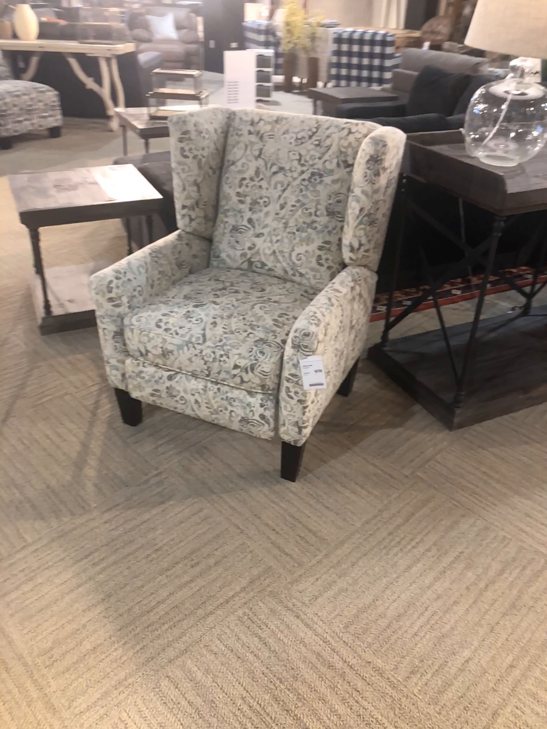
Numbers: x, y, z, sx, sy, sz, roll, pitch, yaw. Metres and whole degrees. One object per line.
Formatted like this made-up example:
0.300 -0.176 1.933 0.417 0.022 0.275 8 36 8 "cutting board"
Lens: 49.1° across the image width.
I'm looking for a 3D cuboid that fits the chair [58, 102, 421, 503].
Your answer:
-0.069 -0.279 2.038 0.781 0.975 0.804 17 35 23 "chair"
